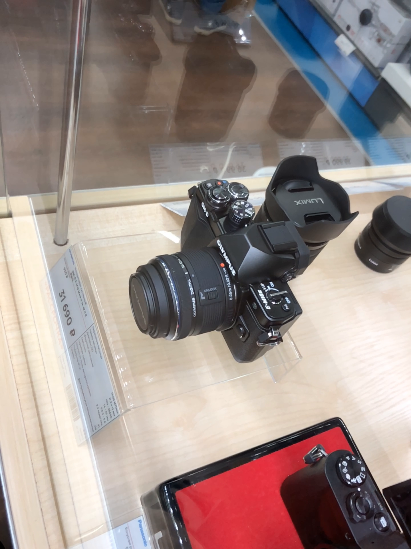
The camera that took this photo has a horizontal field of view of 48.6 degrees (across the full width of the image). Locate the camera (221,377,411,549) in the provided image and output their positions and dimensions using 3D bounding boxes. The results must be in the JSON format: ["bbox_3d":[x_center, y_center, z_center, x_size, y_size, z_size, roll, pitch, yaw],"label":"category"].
[{"bbox_3d":[0.078,0.131,0.205,0.072,0.109,0.118,-9,59,-26],"label":"camera"}]

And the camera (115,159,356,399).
[{"bbox_3d":[0.010,-0.001,0.306,0.101,0.088,0.118,-9,59,-26],"label":"camera"}]
